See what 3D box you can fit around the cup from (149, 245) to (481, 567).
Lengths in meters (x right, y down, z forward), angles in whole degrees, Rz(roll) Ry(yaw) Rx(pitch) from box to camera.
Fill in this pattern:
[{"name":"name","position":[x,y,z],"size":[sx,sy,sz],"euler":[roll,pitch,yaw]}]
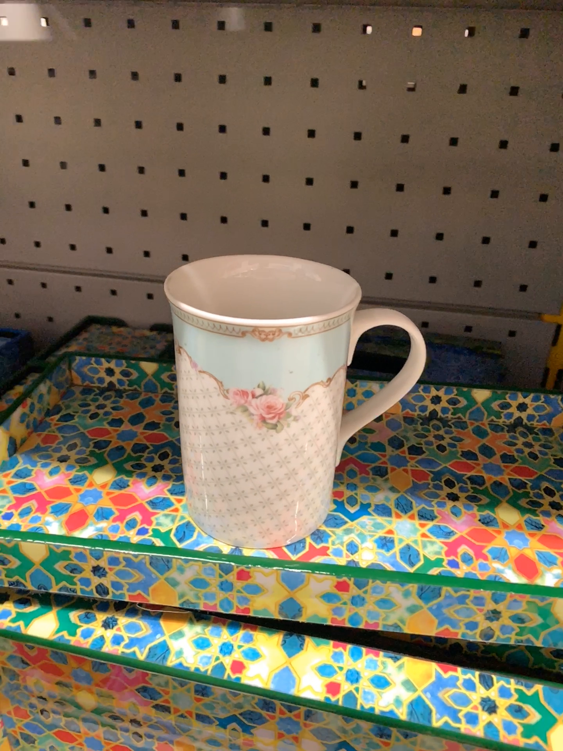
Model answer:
[{"name":"cup","position":[0.007,0.006,0.254],"size":[0.110,0.100,0.080],"euler":[-7,29,-17]}]
